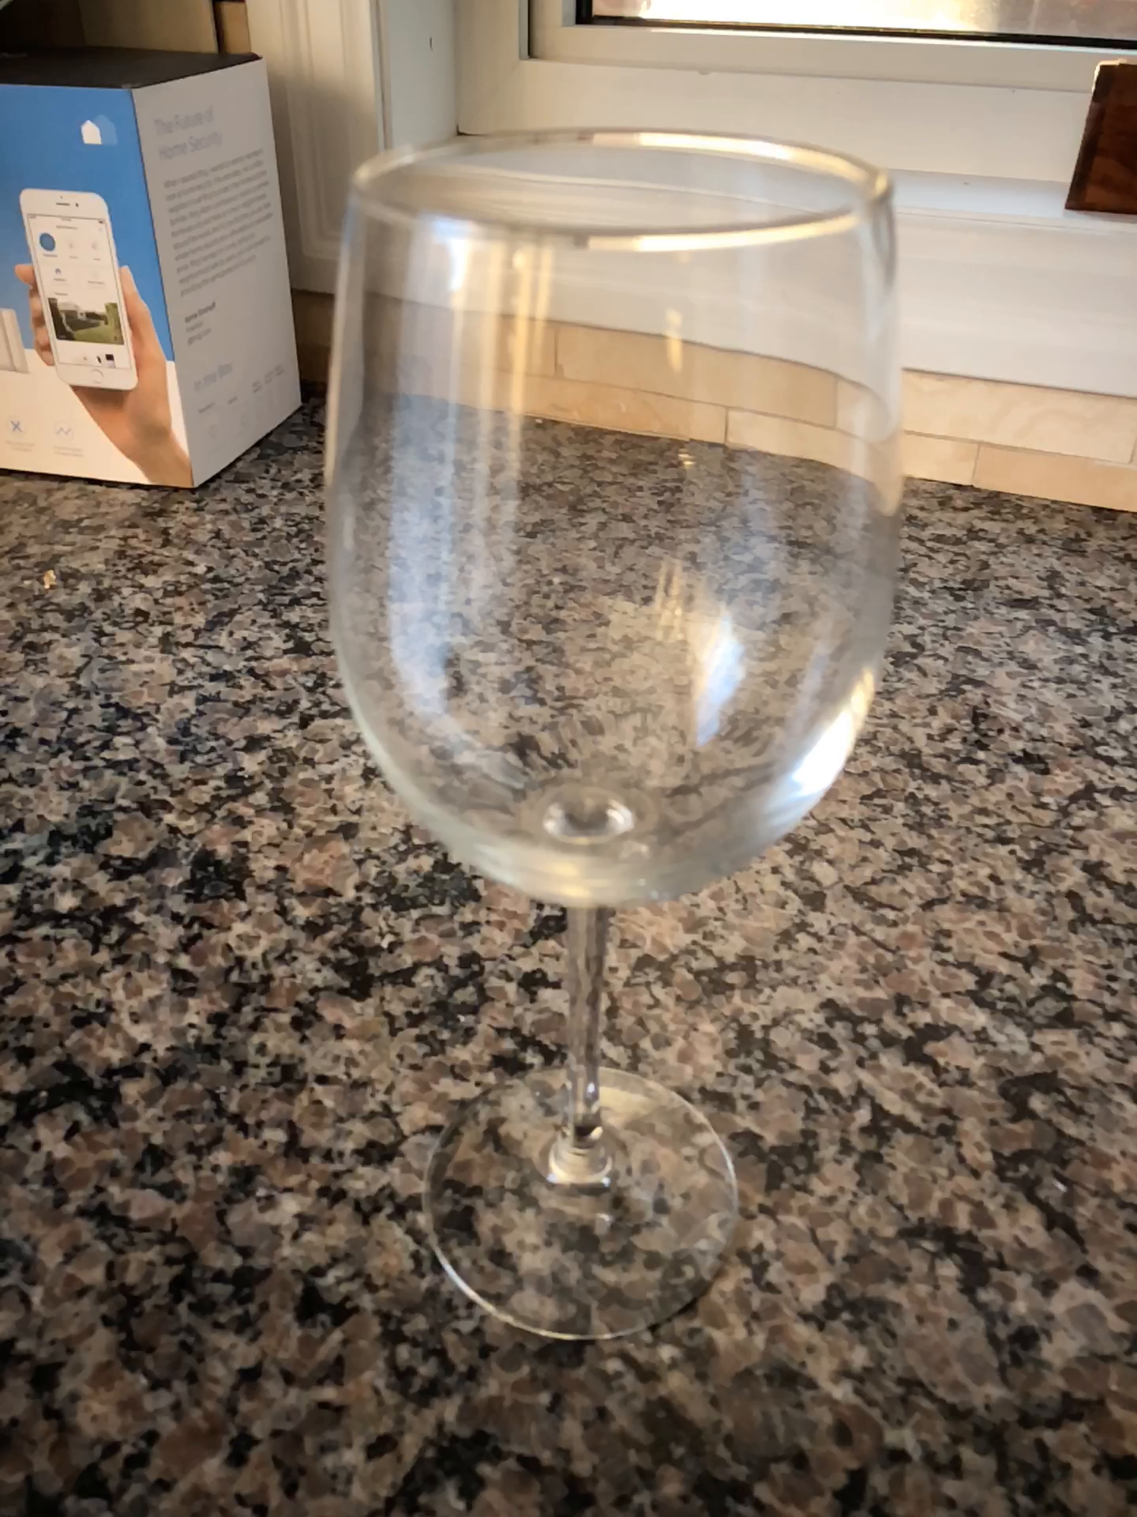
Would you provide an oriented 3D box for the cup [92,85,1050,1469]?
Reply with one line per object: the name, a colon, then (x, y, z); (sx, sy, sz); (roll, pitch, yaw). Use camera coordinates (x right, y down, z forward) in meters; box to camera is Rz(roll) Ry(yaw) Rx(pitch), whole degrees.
cup: (0.006, 0.008, 0.230); (0.095, 0.217, 0.097); (0, 34, 0)
